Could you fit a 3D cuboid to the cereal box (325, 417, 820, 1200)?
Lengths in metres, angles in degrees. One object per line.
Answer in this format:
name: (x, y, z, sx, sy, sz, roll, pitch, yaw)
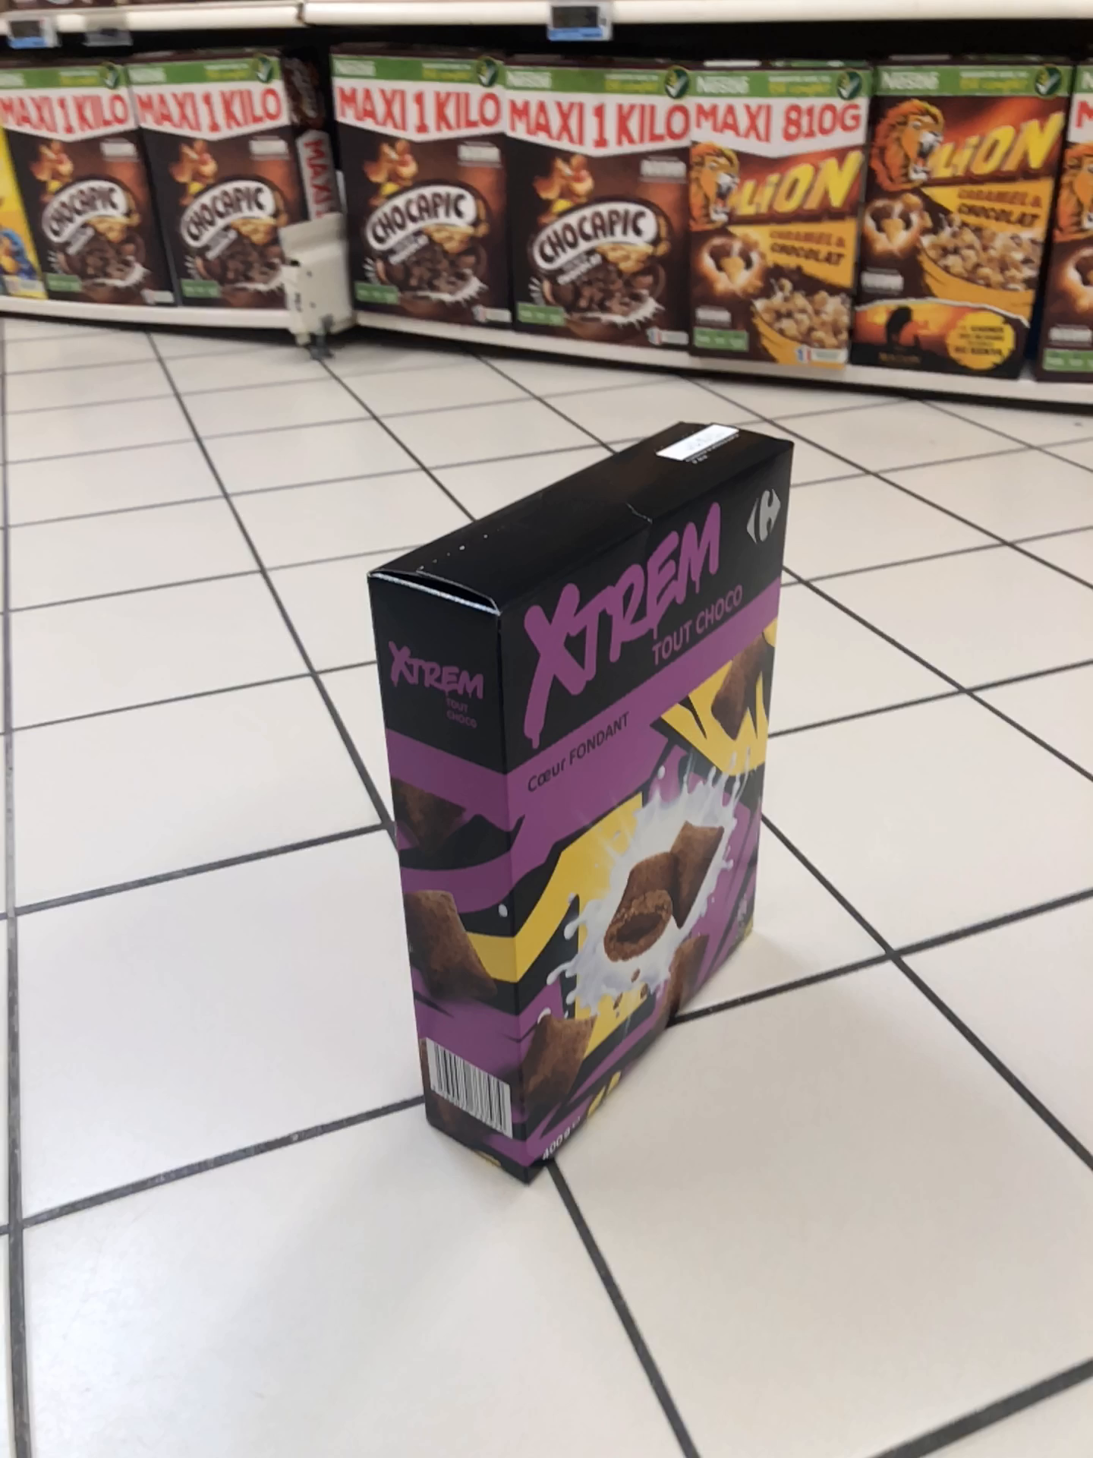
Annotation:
cereal box: (0.022, 0.022, 0.482, 0.070, 0.239, 0.201, 19, 36, 32)
